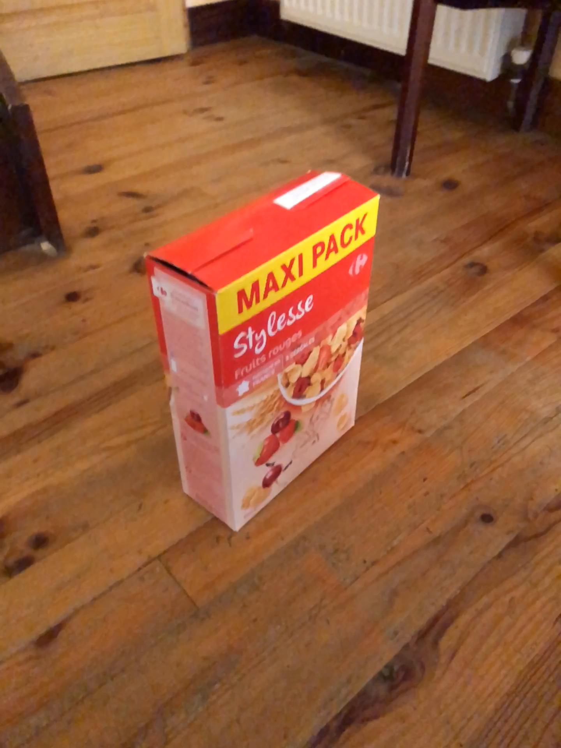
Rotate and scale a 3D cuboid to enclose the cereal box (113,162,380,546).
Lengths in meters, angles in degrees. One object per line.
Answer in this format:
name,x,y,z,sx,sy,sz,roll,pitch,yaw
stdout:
cereal box,-0.019,-0.015,0.582,0.090,0.288,0.211,30,50,30
